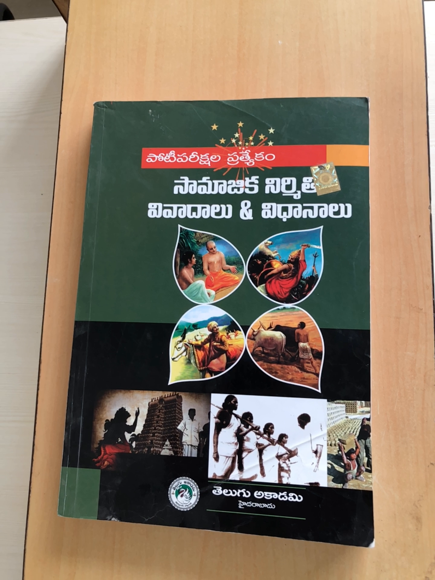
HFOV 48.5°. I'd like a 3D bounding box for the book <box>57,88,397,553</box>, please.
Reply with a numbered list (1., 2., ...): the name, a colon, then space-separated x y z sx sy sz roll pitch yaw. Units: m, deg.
1. book: 0.009 0.009 0.314 0.190 0.050 0.270 1 81 6
